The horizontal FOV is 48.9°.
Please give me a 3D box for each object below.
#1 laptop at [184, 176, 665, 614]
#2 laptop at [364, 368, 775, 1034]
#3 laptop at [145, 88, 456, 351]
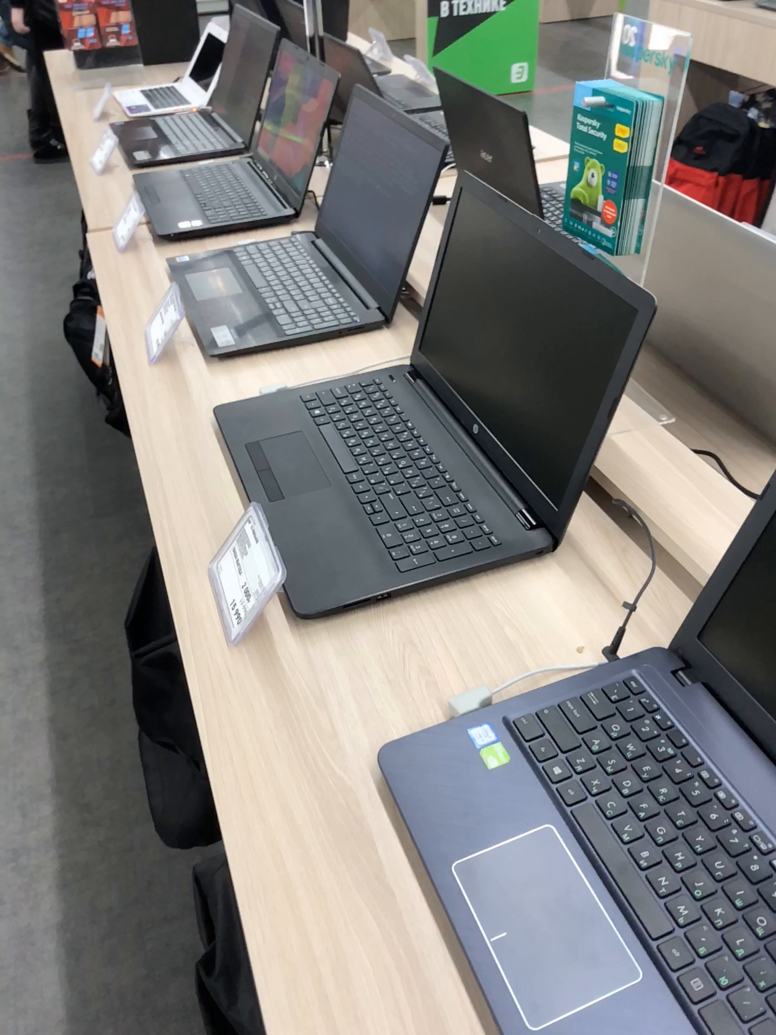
[{"bbox_3d":[0.008,-0.147,0.824,0.311,0.216,0.368,-15,39,-14],"label":"laptop"},{"bbox_3d":[0.209,0.141,0.436,0.333,0.209,0.371,-17,40,-15],"label":"laptop"},{"bbox_3d":[-0.129,-0.433,1.201,0.327,0.213,0.333,-15,40,-14],"label":"laptop"}]
